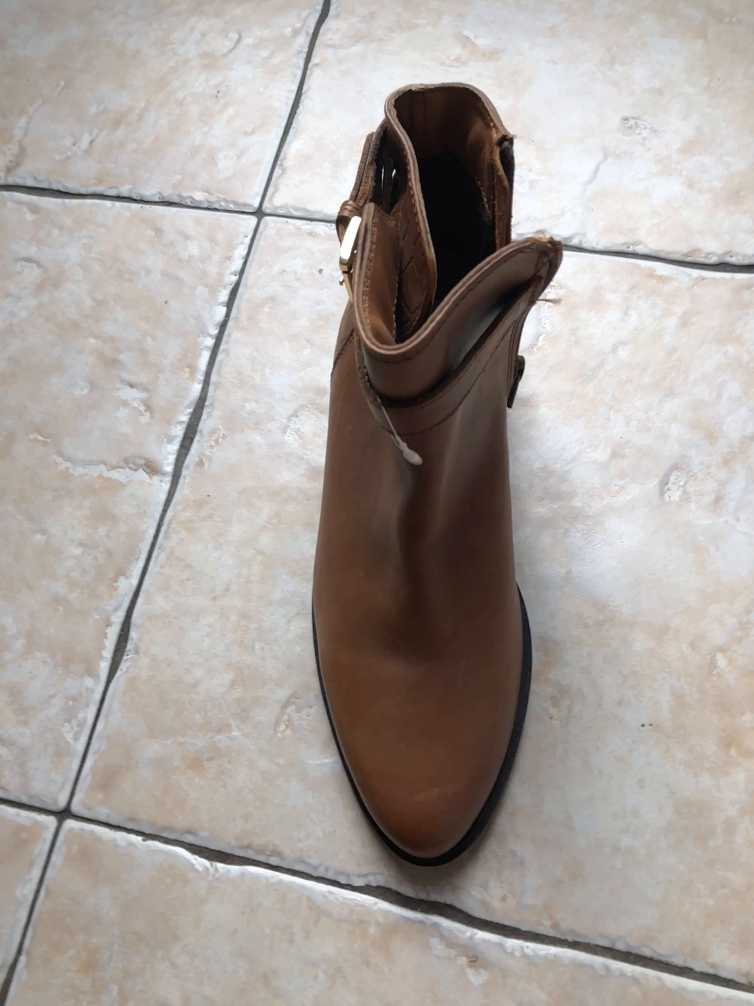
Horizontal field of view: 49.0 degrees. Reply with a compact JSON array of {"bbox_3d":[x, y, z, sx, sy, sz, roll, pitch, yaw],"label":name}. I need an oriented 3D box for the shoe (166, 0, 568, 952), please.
[{"bbox_3d":[0.020,-0.015,0.318,0.090,0.180,0.301,2,70,9],"label":"shoe"}]
